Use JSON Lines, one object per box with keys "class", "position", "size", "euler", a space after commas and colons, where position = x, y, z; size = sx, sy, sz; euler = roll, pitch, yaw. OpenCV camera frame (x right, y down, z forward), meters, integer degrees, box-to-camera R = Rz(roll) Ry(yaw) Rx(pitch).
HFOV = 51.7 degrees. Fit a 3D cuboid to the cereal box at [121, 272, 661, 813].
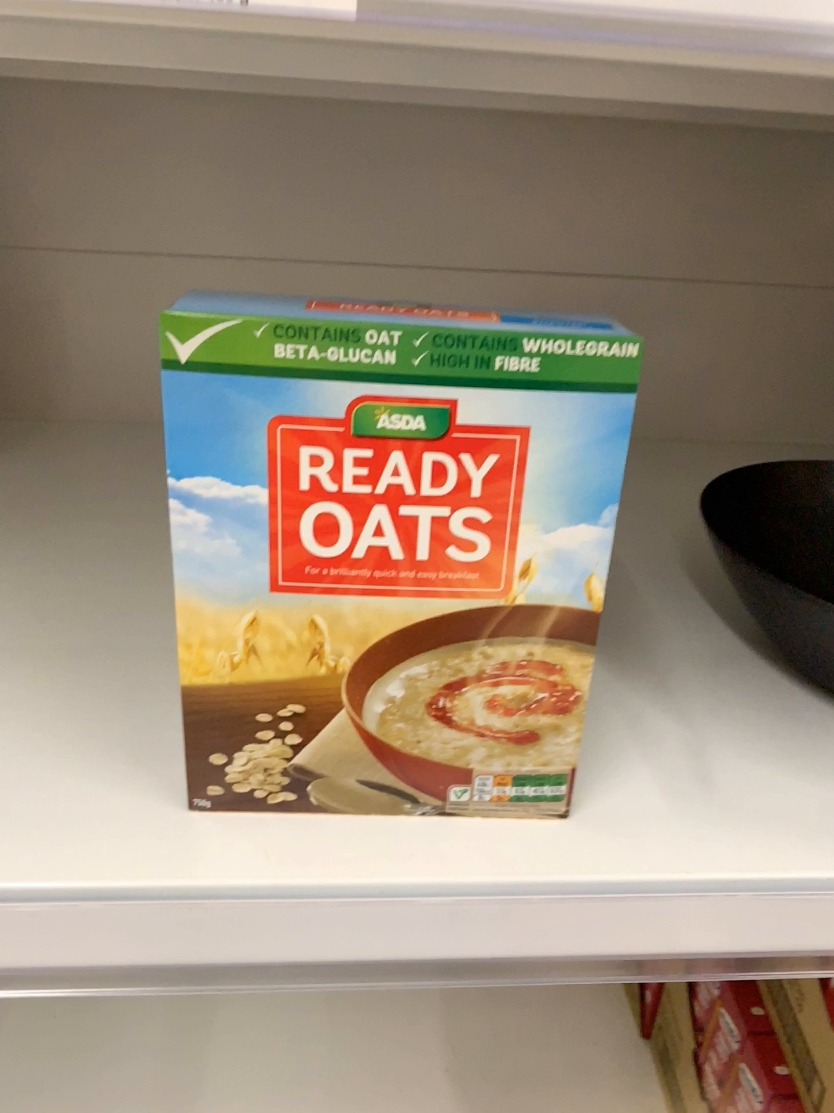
{"class": "cereal box", "position": [-0.018, 0.001, 0.440], "size": [0.220, 0.258, 0.081], "euler": [2, 25, -4]}
